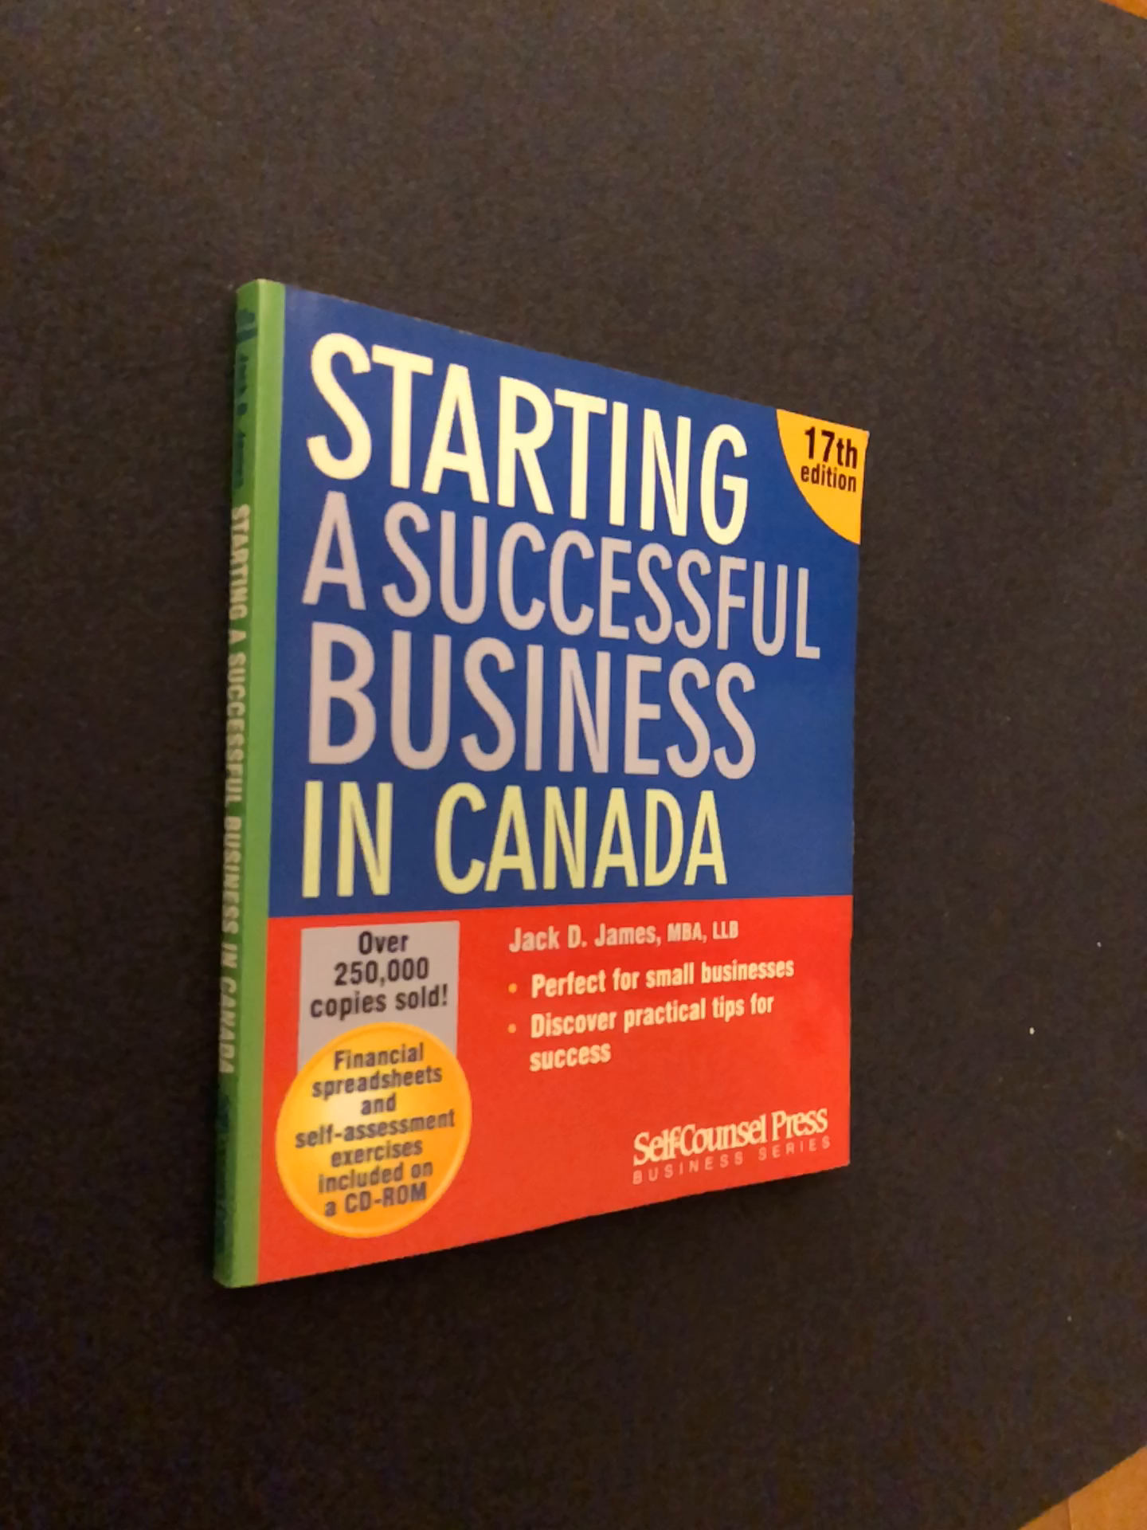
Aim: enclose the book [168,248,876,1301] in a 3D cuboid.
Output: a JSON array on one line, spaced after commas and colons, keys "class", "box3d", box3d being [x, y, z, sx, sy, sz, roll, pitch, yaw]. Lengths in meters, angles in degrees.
[{"class": "book", "box3d": [-0.002, 0.005, 0.370, 0.211, 0.040, 0.247, 3, 87, -34]}]
